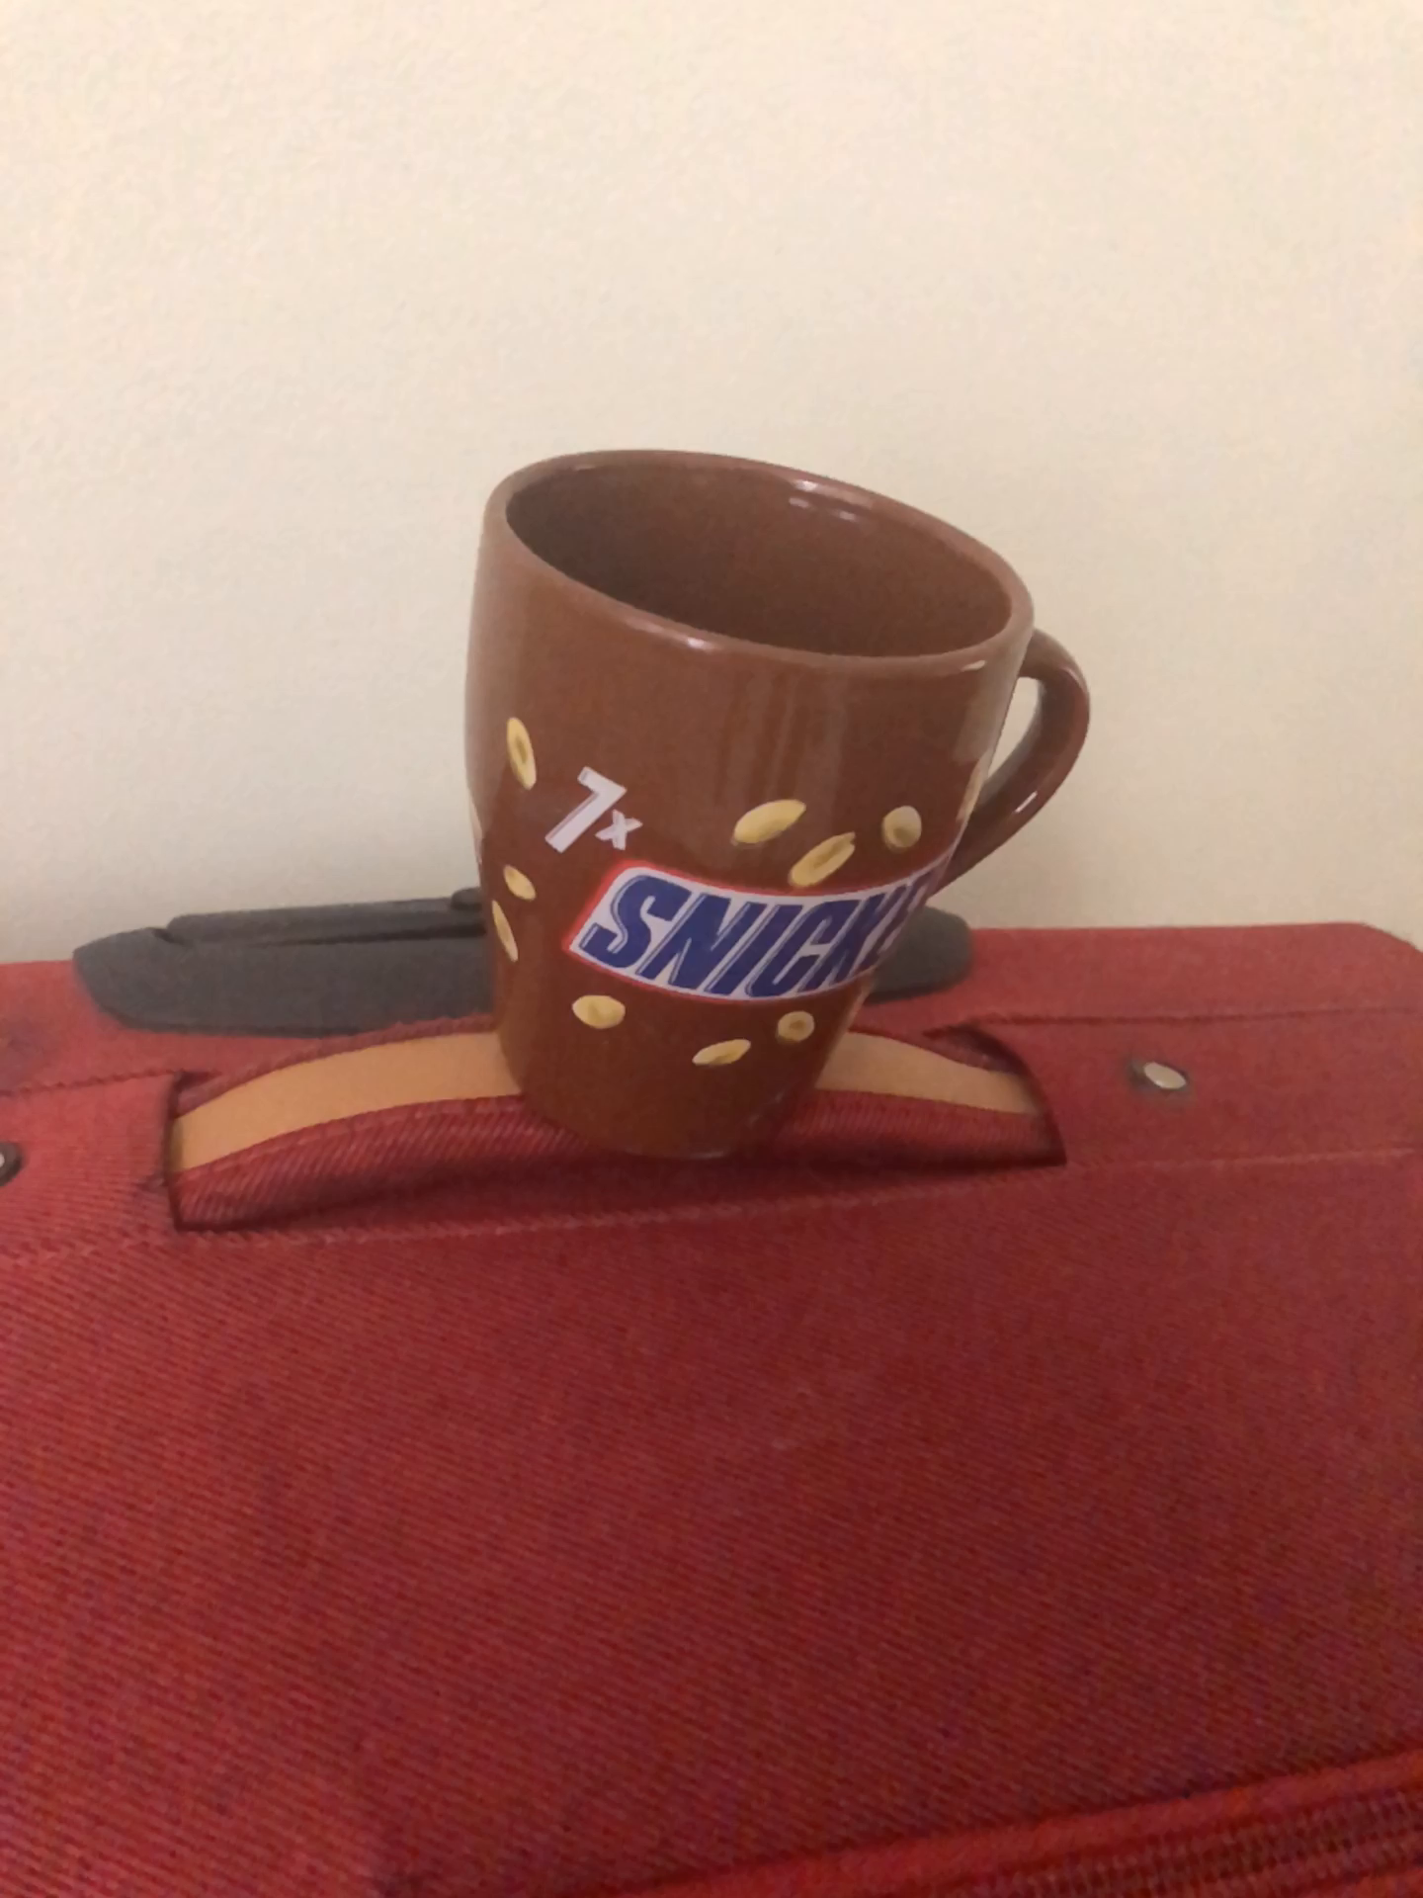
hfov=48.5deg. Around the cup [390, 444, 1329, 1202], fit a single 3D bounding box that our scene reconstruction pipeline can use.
[{"bbox_3d":[0.013,-0.027,0.257,0.115,0.080,0.088,-6,37,-20],"label":"cup"}]
